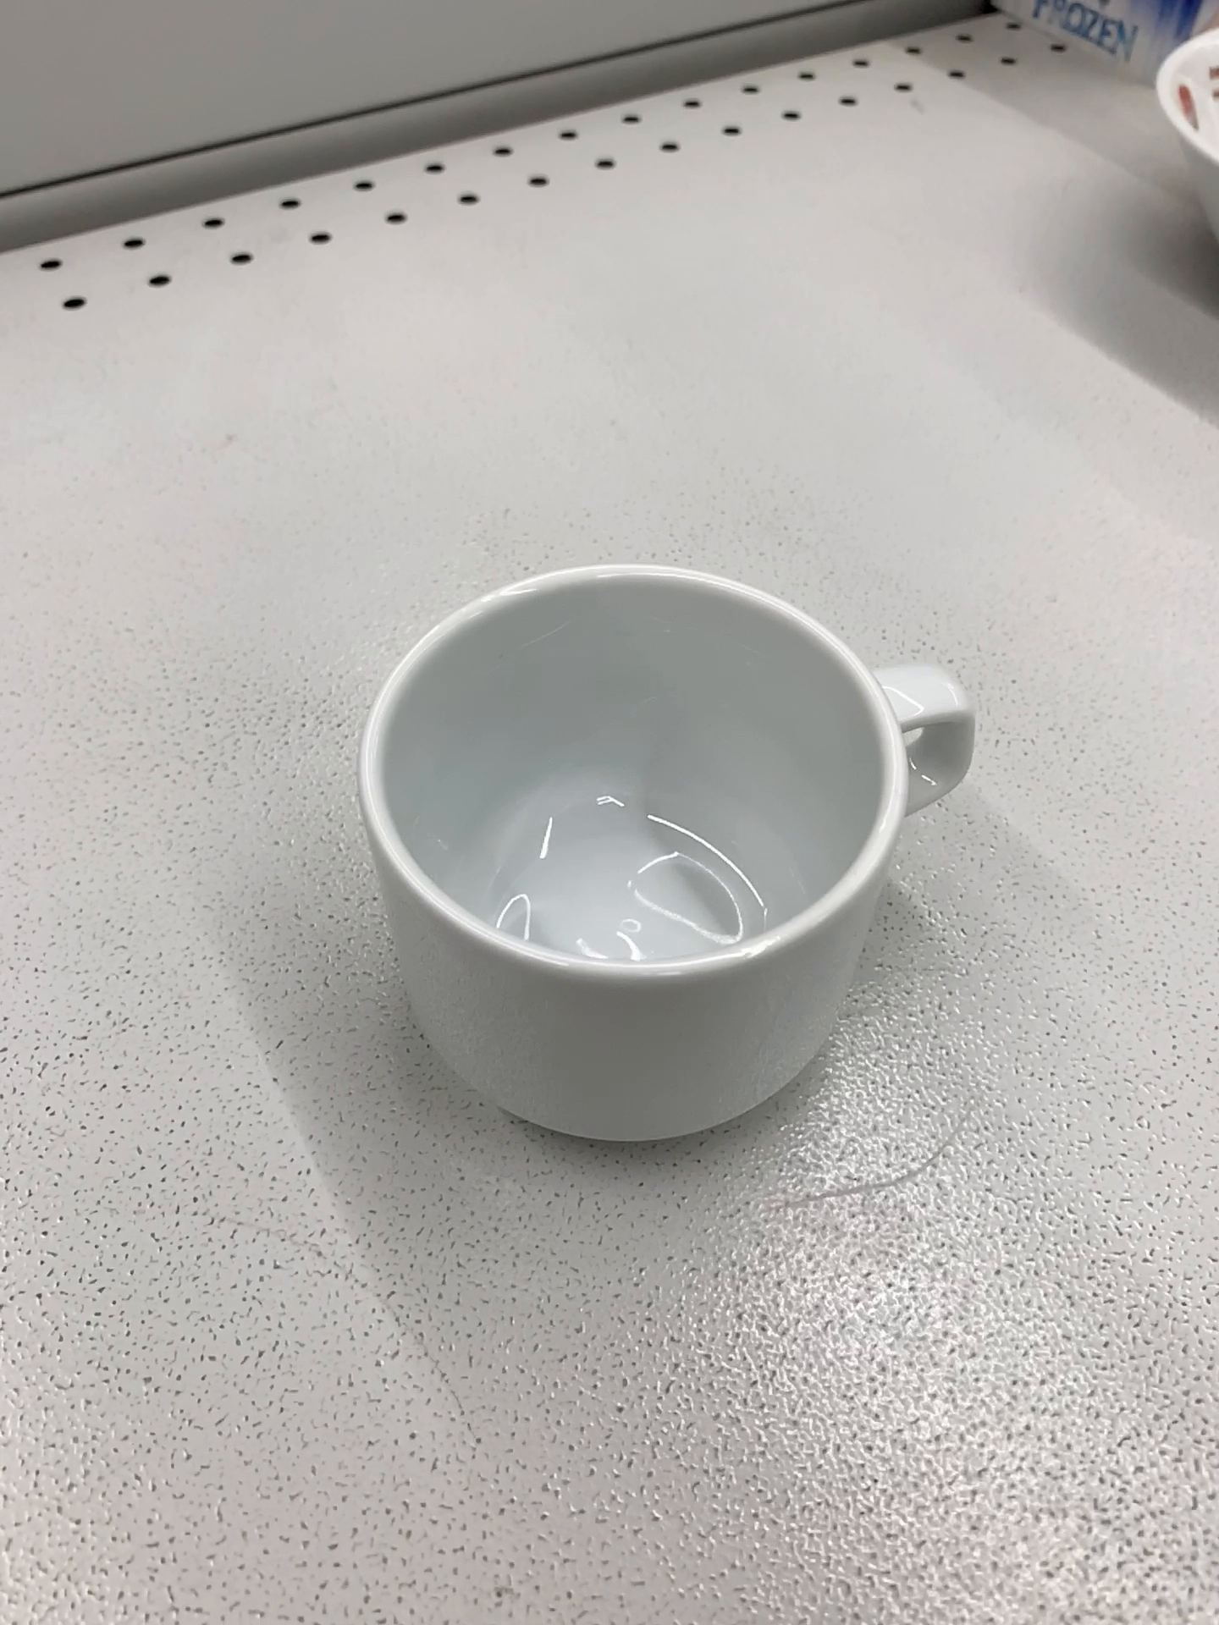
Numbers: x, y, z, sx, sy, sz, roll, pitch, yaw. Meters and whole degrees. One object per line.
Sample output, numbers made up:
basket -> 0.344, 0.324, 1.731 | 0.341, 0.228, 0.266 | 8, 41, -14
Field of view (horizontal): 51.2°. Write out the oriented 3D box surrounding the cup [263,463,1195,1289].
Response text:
cup -> 0.014, 0.005, 0.203 | 0.105, 0.056, 0.082 | -22, 55, -17
